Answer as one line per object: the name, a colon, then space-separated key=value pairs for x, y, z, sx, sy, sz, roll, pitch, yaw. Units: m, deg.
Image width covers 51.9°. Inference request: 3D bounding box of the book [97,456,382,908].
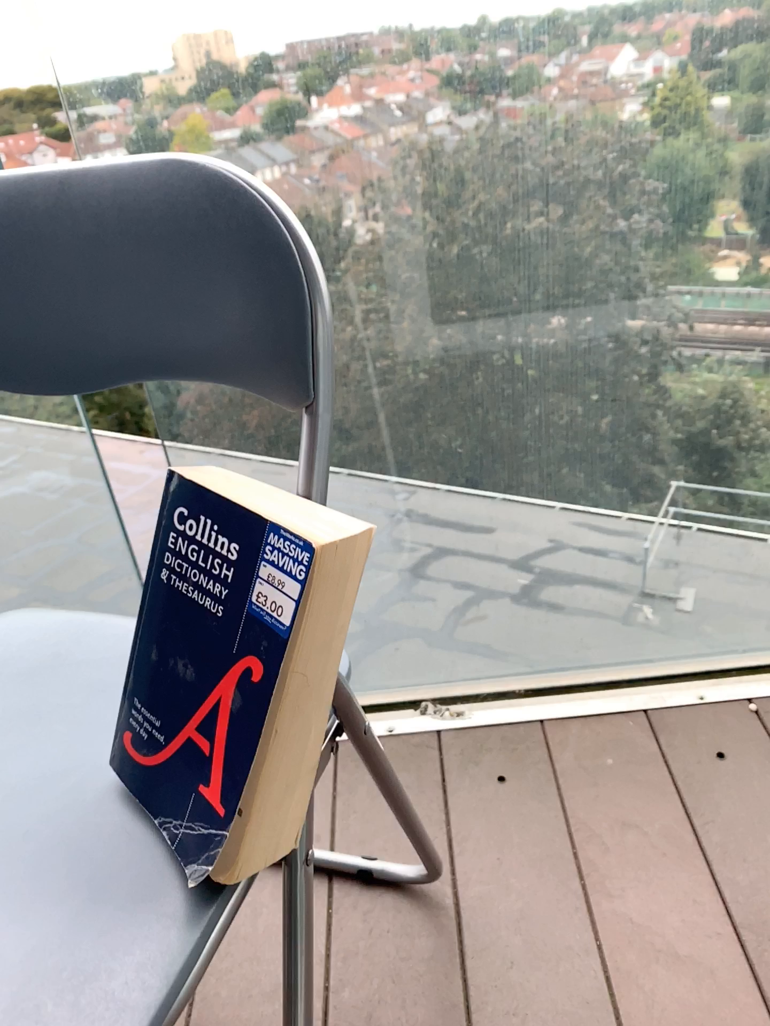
book: x=-0.092 y=0.084 z=0.452 sx=0.060 sy=0.199 sz=0.141 roll=2 pitch=16 yaw=-43
